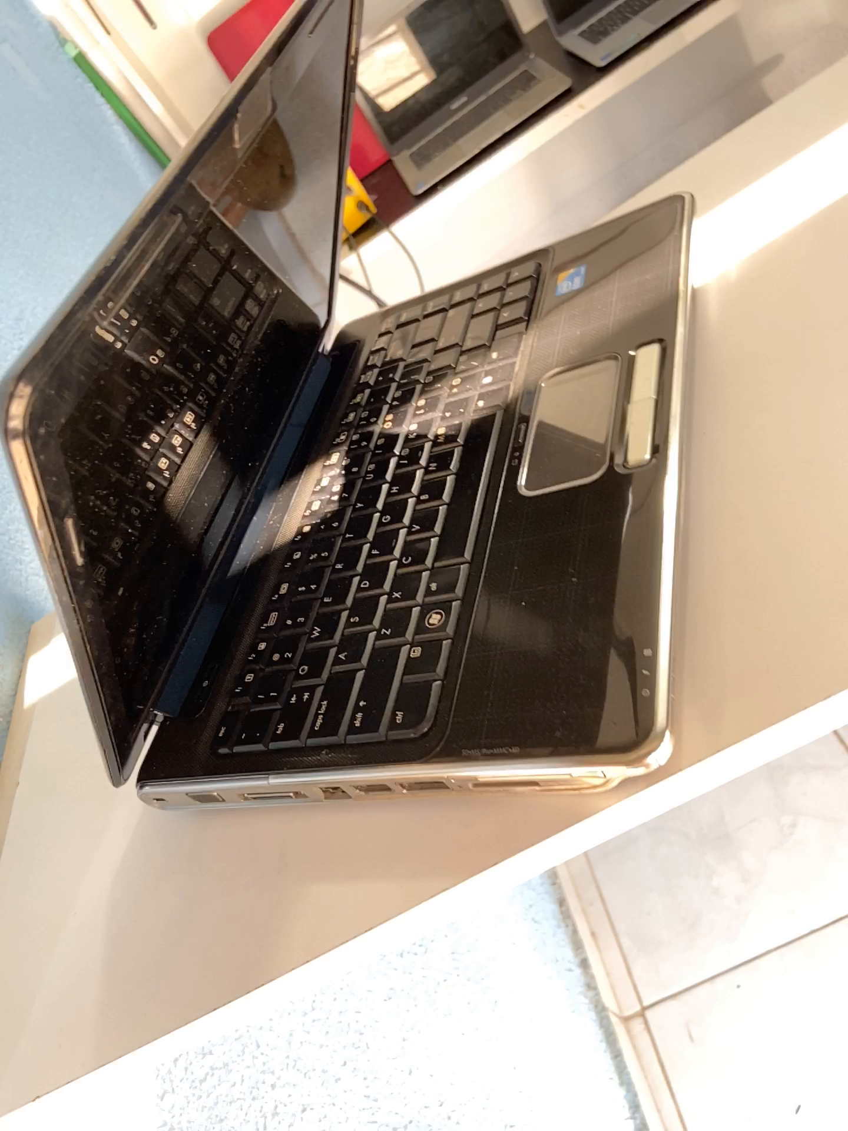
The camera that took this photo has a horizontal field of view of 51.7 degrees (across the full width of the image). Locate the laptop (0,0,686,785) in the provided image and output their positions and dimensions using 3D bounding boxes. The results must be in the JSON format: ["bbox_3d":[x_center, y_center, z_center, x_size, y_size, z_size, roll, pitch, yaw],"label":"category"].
[{"bbox_3d":[-0.037,-0.101,0.366,0.225,0.165,0.326,-12,45,31],"label":"laptop"}]
